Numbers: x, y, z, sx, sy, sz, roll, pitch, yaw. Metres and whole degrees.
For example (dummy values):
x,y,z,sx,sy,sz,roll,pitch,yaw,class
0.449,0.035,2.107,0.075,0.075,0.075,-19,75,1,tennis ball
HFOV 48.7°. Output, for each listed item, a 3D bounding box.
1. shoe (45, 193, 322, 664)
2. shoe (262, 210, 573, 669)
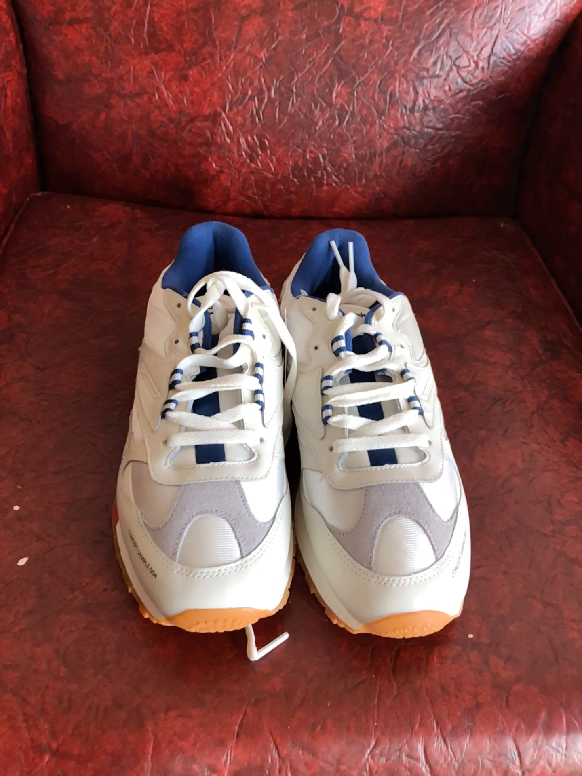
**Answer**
x,y,z,sx,sy,sz,roll,pitch,yaw,class
-0.060,0.005,0.385,0.110,0.099,0.272,0,49,-8,shoe
0.050,0.012,0.398,0.110,0.099,0.272,0,49,-8,shoe
